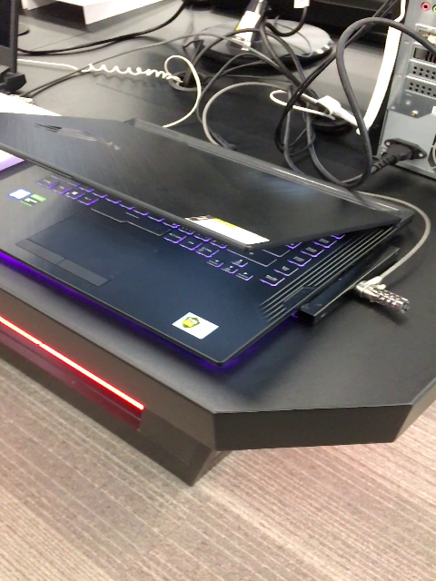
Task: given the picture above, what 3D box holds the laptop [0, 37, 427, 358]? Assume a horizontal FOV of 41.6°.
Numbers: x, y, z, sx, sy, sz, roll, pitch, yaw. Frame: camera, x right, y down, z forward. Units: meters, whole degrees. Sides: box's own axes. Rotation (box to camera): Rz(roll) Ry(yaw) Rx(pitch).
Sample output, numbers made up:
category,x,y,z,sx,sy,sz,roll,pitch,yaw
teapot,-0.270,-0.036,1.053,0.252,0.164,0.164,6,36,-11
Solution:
category,x,y,z,sx,sy,sz,roll,pitch,yaw
laptop,-0.060,-0.120,0.578,0.371,0.121,0.269,29,53,26
